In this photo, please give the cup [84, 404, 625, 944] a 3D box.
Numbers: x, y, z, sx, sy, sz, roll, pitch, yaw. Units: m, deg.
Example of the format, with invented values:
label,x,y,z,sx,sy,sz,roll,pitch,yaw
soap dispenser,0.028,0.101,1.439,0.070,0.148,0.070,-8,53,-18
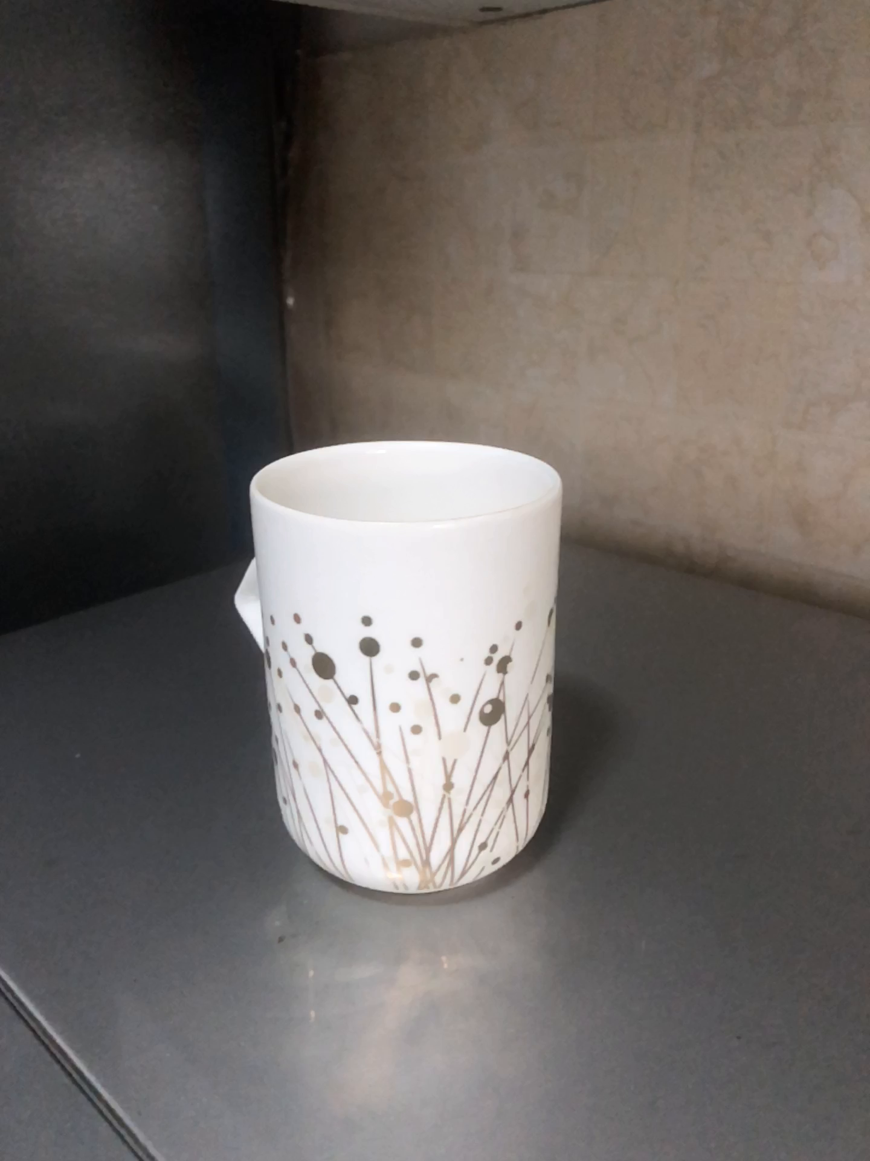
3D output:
label,x,y,z,sx,sy,sz,roll,pitch,yaw
cup,-0.018,0.013,0.262,0.110,0.099,0.080,11,23,30
